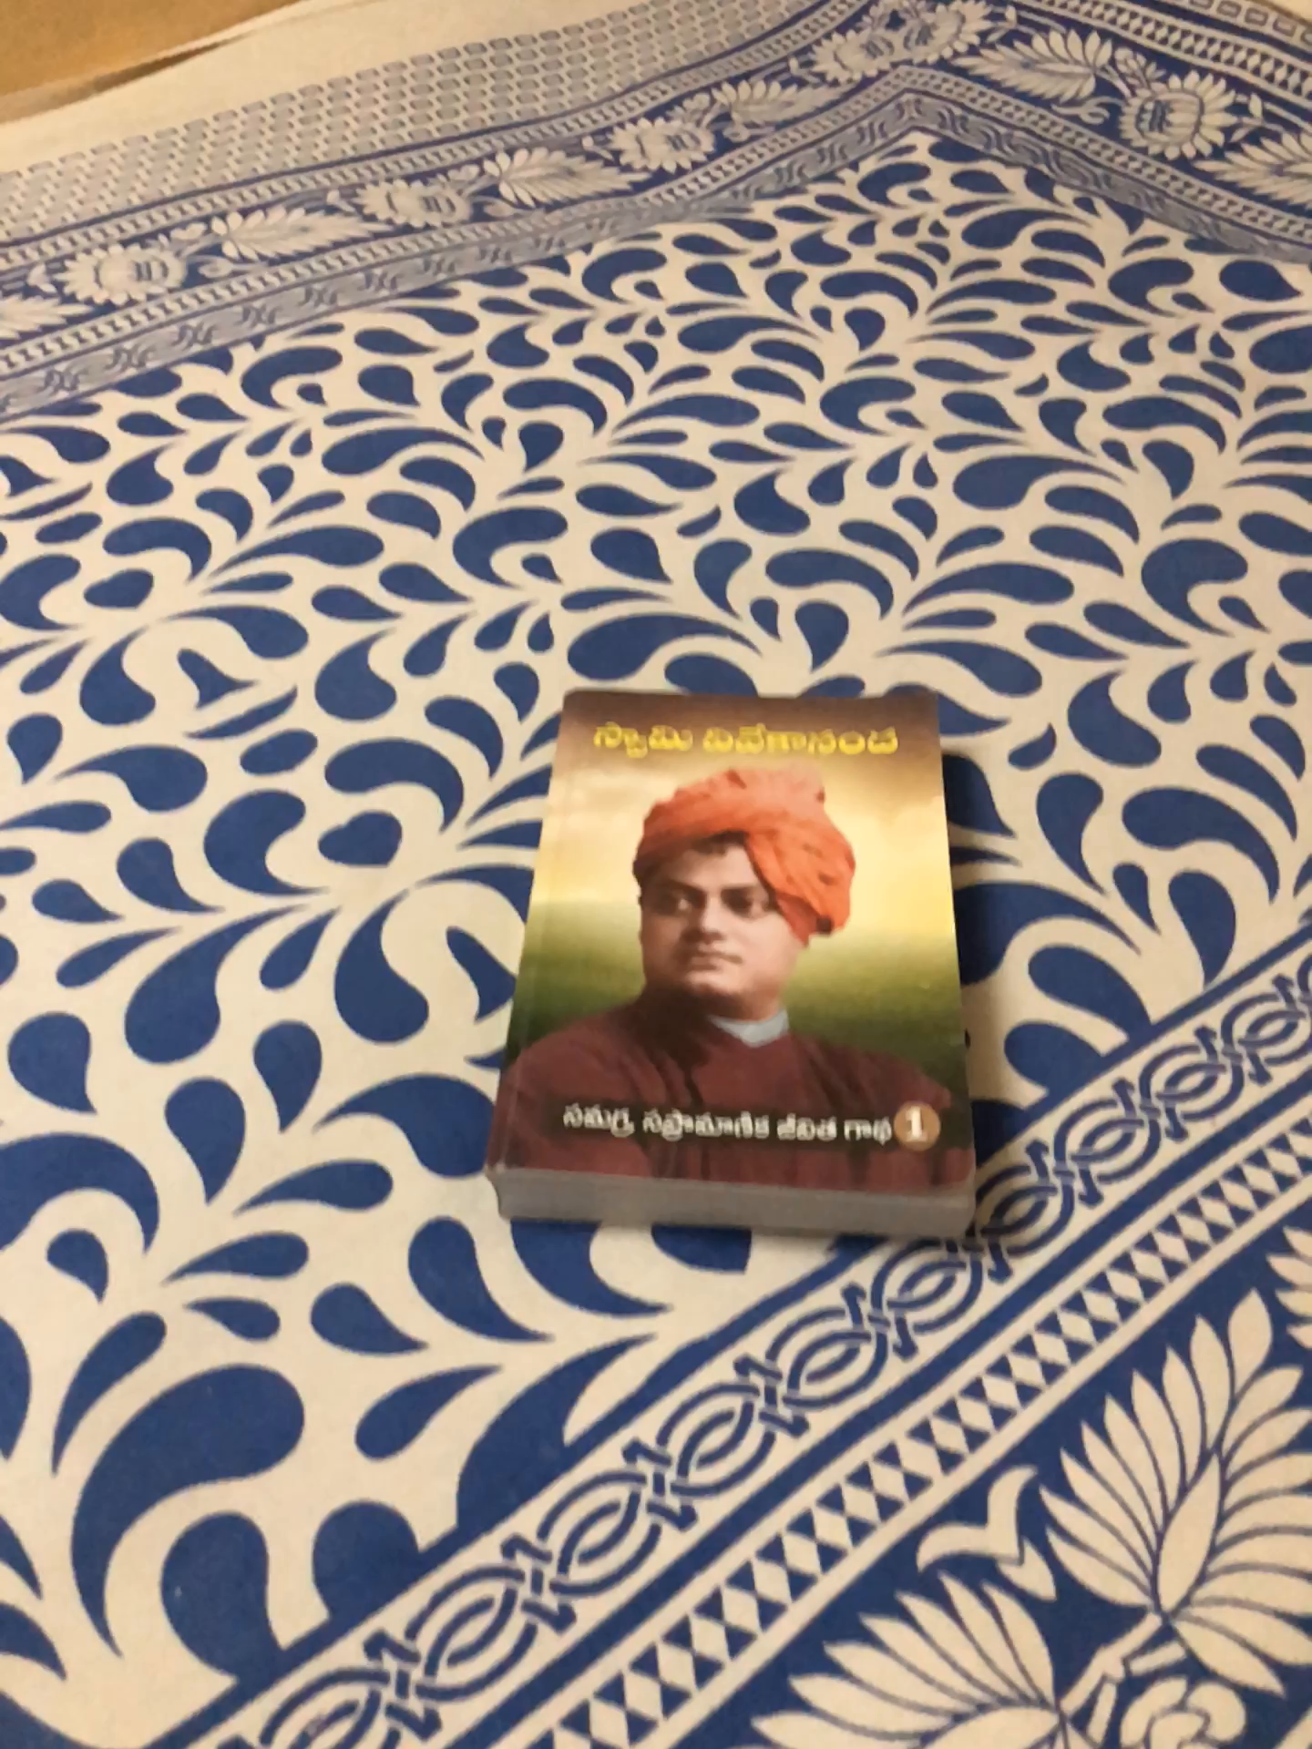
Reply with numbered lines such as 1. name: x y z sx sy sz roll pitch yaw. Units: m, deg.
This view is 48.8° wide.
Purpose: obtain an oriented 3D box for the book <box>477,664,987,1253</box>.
1. book: 0.027 0.016 0.476 0.140 0.030 0.211 3 50 2
